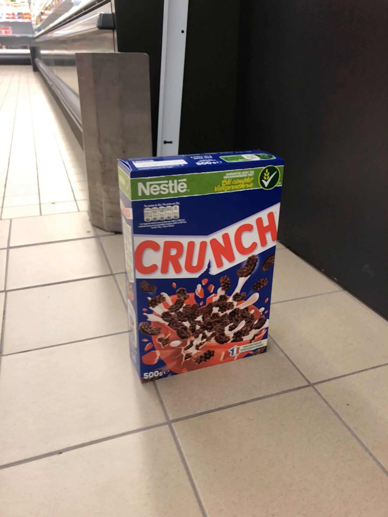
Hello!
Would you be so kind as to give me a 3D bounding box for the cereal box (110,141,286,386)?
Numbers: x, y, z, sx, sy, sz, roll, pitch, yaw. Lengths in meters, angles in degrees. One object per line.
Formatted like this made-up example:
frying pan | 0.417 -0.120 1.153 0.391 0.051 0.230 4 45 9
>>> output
cereal box | 0.004 0.007 0.554 0.190 0.288 0.070 -9 28 -19
